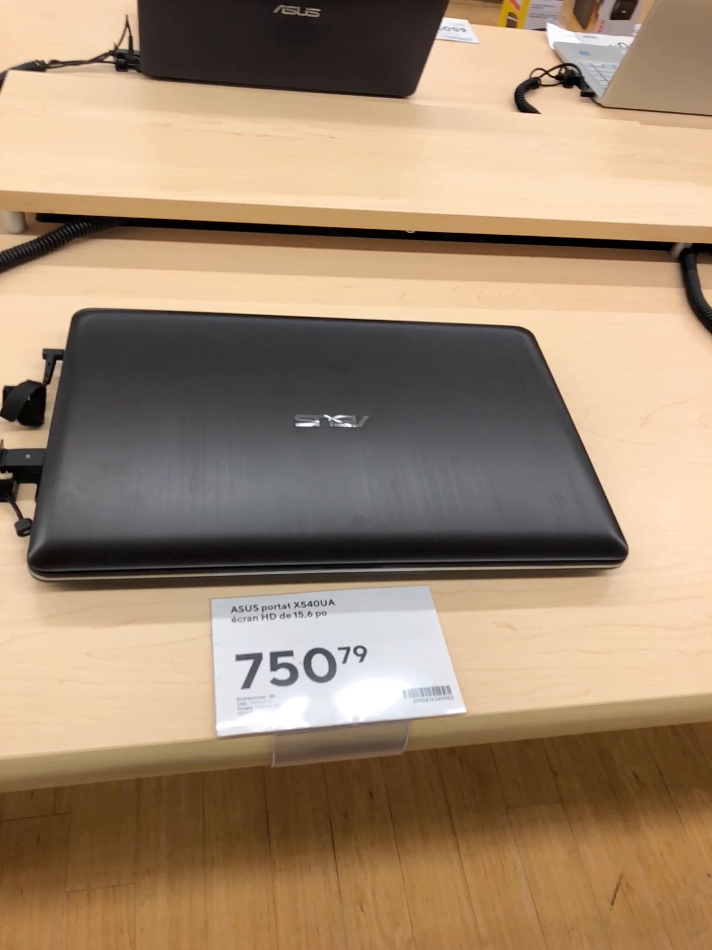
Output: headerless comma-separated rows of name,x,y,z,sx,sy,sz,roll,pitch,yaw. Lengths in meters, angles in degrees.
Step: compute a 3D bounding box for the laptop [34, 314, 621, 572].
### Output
laptop,-0.018,-0.033,0.562,0.369,0.010,0.228,0,49,-11
